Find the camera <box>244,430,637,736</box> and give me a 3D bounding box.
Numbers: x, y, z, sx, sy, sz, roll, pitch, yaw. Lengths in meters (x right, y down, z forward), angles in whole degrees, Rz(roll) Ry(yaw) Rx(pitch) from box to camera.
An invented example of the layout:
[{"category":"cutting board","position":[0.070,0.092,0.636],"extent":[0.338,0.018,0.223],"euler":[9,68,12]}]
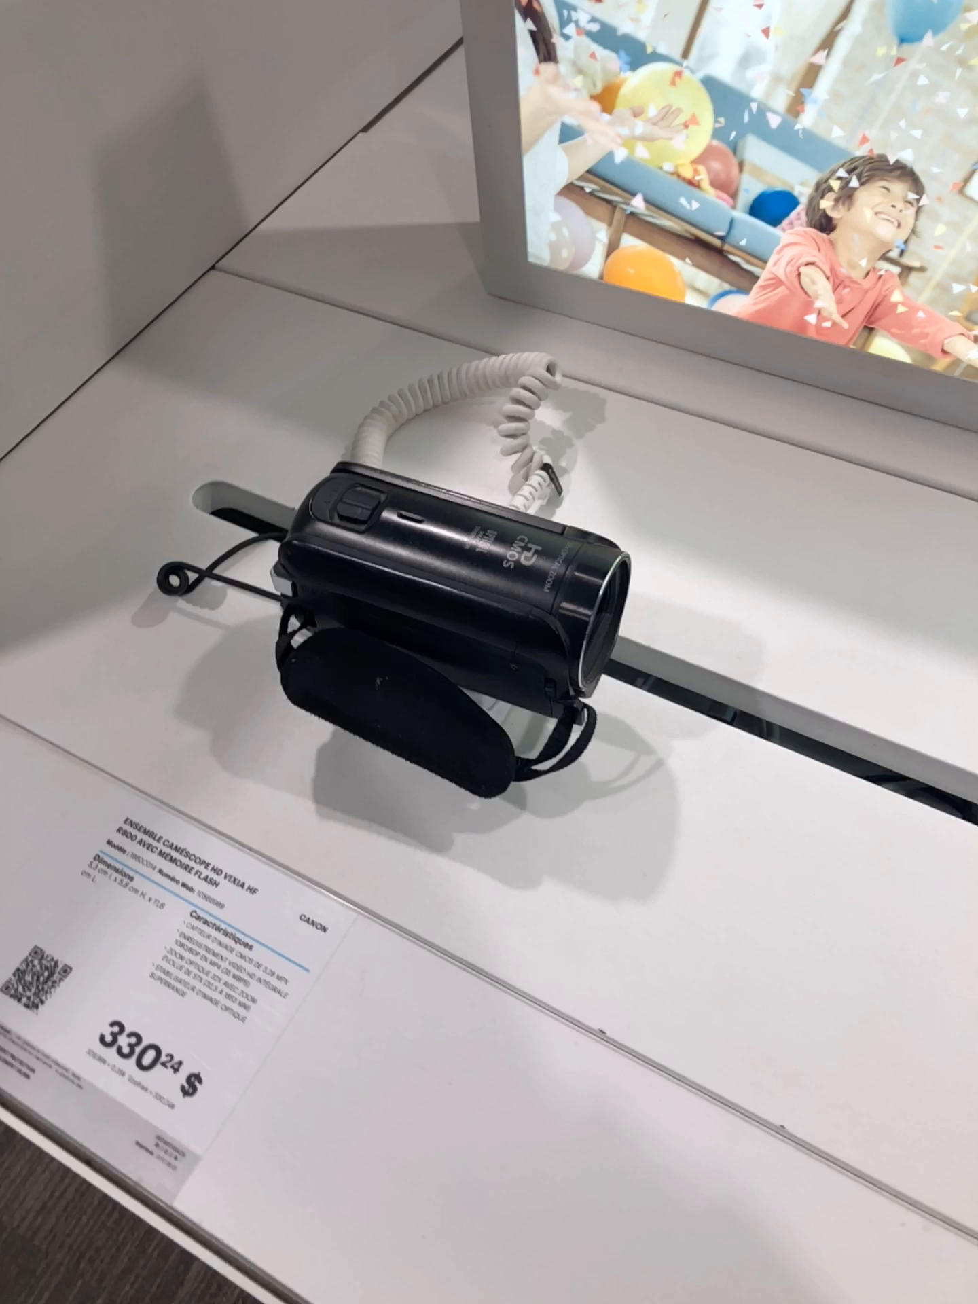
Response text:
[{"category":"camera","position":[-0.014,-0.024,0.357],"extent":[0.113,0.050,0.050],"euler":[19,57,19]}]
